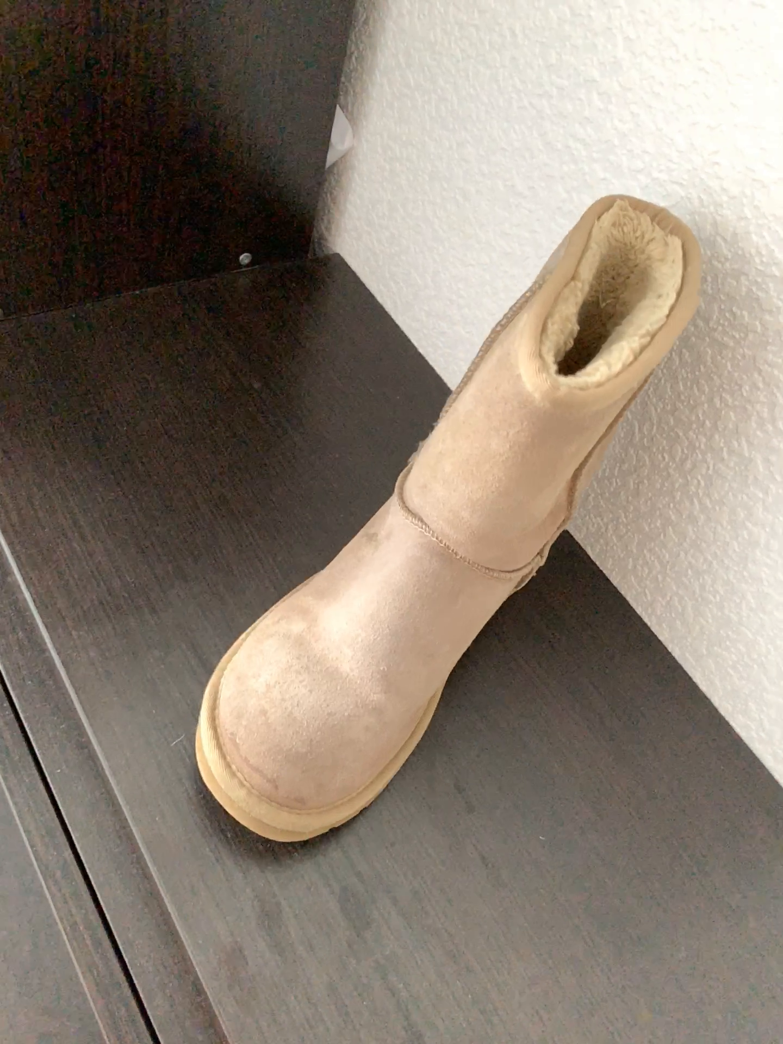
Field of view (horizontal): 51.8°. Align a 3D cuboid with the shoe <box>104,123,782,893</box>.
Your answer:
[{"bbox_3d":[0.023,-0.006,0.361,0.116,0.229,0.261,39,54,13],"label":"shoe"}]
